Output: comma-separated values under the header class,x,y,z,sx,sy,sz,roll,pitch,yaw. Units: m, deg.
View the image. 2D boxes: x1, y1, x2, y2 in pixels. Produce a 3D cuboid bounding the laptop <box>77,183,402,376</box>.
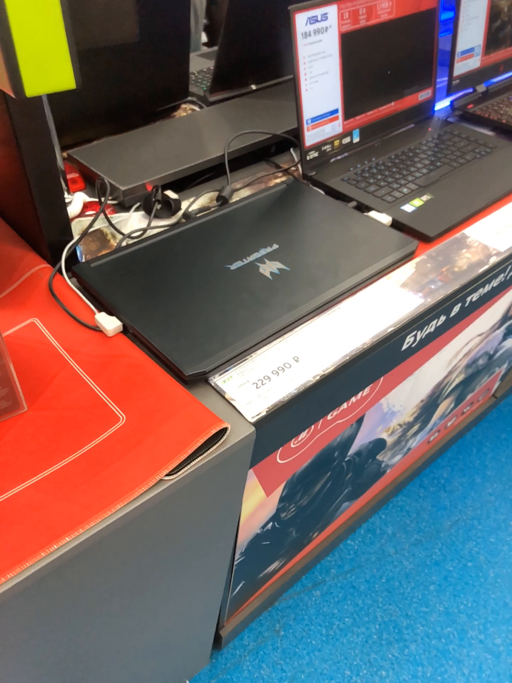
class,x,y,z,sx,sy,sz,roll,pitch,yaw
laptop,-0.013,-0.103,0.717,0.354,0.006,0.222,-31,51,-30
